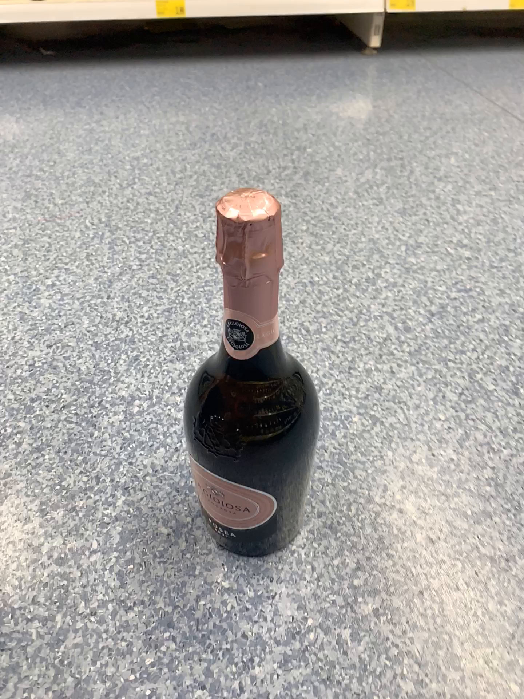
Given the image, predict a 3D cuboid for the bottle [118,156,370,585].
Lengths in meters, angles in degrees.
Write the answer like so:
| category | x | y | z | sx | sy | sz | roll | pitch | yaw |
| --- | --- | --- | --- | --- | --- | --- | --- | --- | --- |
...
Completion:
| category | x | y | z | sx | sy | sz | roll | pitch | yaw |
| --- | --- | --- | --- | --- | --- | --- | --- | --- | --- |
| bottle | -0.008 | 0.031 | 0.349 | 0.094 | 0.268 | 0.079 | 23 | 46 | 24 |
